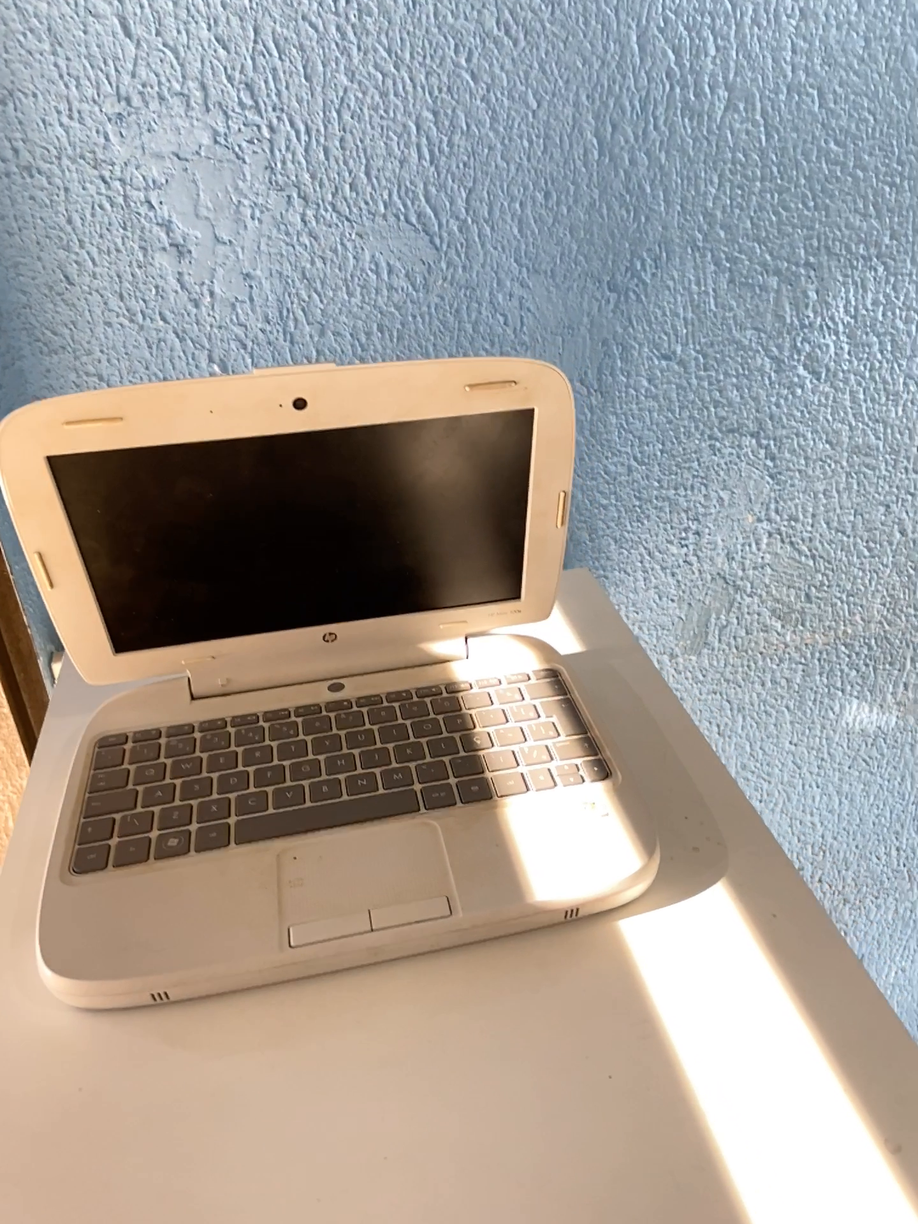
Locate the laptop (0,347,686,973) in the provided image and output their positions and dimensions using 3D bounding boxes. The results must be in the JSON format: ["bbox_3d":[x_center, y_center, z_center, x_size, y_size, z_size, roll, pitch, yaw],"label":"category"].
[{"bbox_3d":[-0.060,0.006,0.426,0.247,0.172,0.178,-8,31,-8],"label":"laptop"}]
